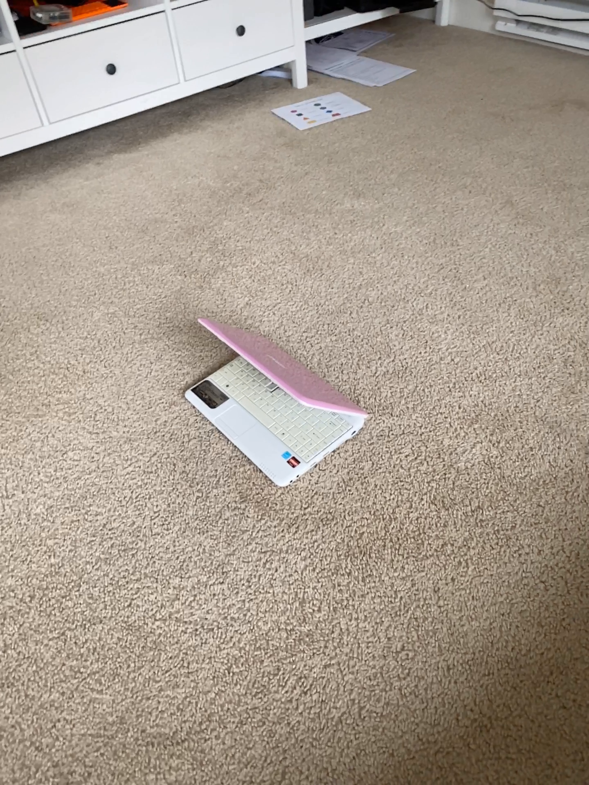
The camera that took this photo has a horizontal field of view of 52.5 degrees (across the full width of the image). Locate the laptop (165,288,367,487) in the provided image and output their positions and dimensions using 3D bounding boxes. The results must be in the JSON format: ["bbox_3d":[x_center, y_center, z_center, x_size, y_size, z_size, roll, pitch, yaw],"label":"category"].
[{"bbox_3d":[-0.052,-0.022,1.019,0.197,0.122,0.298,-34,50,-22],"label":"laptop"}]
